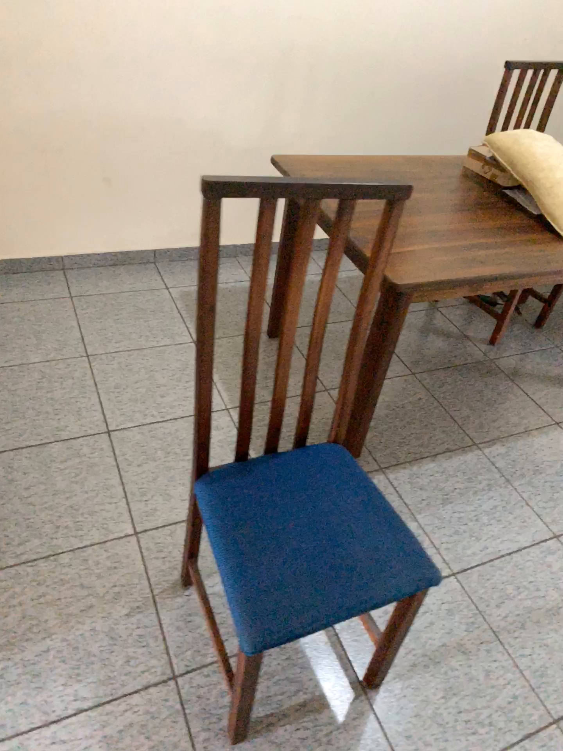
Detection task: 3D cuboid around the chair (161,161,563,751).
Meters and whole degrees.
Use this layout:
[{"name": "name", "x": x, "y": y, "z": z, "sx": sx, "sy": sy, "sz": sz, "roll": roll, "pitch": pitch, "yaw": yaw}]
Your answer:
[{"name": "chair", "x": 0.073, "y": 0.229, "z": 1.170, "sx": 0.471, "sy": 1.123, "sz": 0.522, "roll": -7, "pitch": 42, "yaw": -24}]
